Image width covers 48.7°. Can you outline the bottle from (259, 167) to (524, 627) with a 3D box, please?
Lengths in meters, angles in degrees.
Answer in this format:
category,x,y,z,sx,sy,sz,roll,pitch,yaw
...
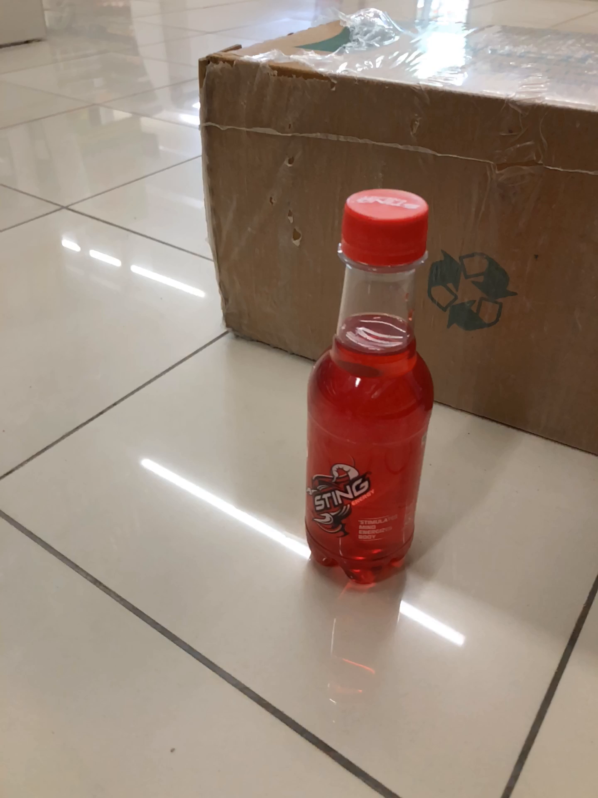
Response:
category,x,y,z,sx,sy,sz,roll,pitch,yaw
bottle,0.034,0.004,0.292,0.070,0.179,0.070,0,36,0
